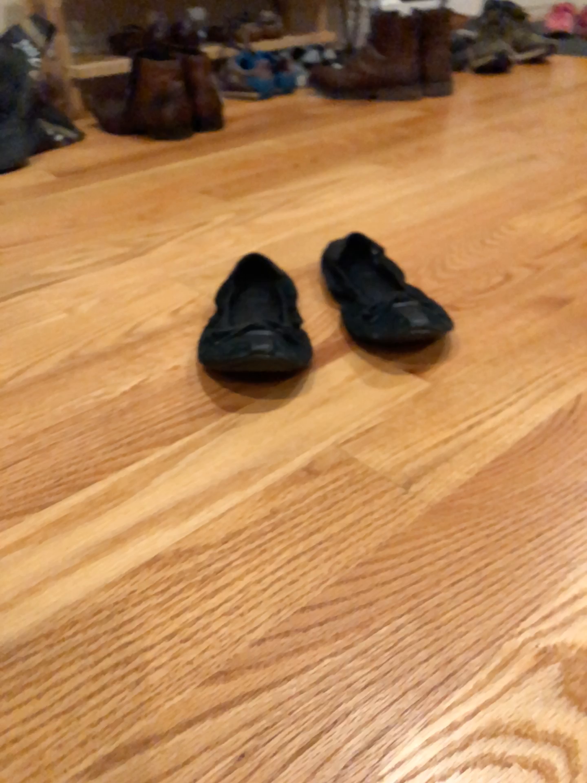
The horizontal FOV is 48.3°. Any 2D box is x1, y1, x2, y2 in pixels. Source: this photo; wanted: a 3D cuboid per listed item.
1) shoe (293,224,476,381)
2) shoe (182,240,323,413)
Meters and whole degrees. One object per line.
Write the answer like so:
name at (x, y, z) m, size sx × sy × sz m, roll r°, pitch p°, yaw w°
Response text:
shoe at (0.072, -0.092, 0.602) m, size 0.093 × 0.046 × 0.221 m, roll -10°, pitch 33°, yaw -10°
shoe at (-0.037, -0.068, 0.575) m, size 0.100 × 0.050 × 0.221 m, roll -5°, pitch 33°, yaw -2°
